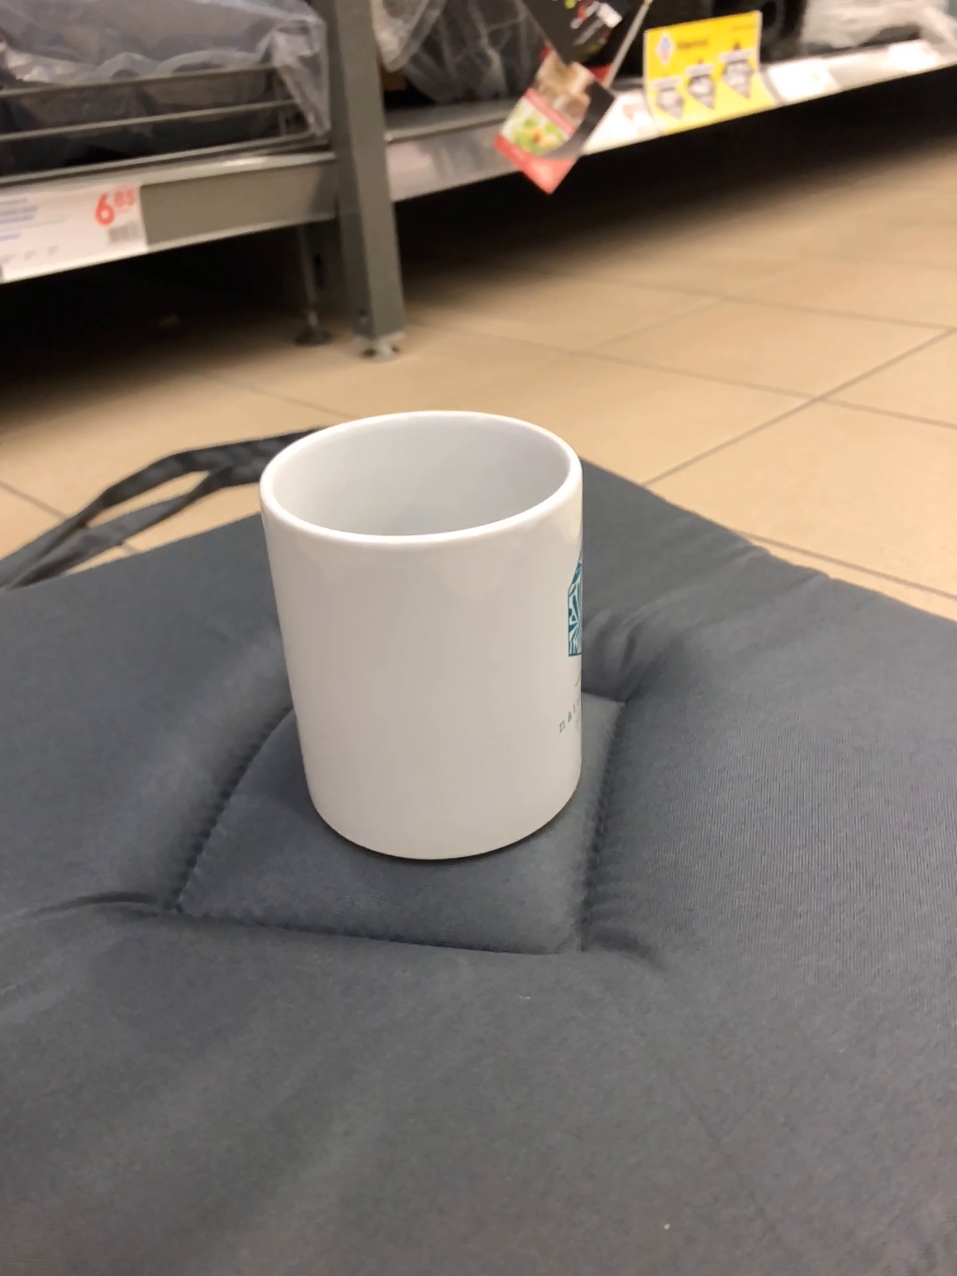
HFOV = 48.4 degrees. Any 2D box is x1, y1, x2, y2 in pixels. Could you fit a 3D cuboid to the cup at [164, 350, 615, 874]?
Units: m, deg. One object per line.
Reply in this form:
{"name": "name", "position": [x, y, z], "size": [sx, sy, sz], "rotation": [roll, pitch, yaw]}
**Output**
{"name": "cup", "position": [-0.010, -0.016, 0.295], "size": [0.090, 0.089, 0.131], "rotation": [1, 30, 9]}
